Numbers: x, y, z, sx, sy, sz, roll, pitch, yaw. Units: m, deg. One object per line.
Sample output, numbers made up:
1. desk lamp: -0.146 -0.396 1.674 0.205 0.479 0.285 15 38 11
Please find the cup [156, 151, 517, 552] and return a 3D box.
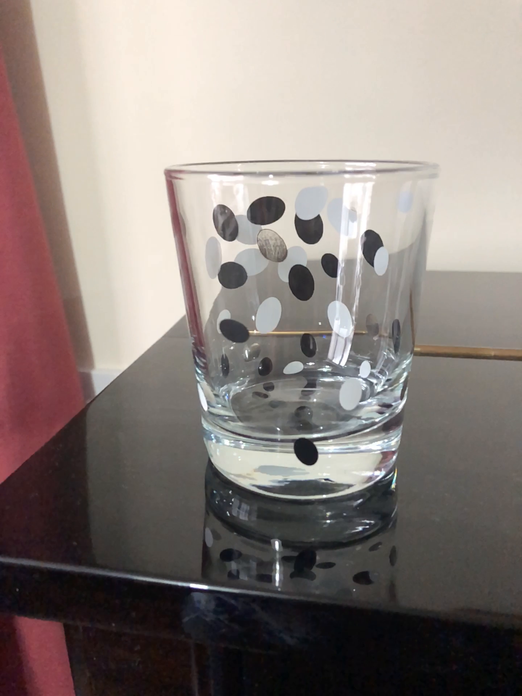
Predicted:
1. cup: 0.017 -0.009 0.184 0.080 0.099 0.070 -8 20 -19
